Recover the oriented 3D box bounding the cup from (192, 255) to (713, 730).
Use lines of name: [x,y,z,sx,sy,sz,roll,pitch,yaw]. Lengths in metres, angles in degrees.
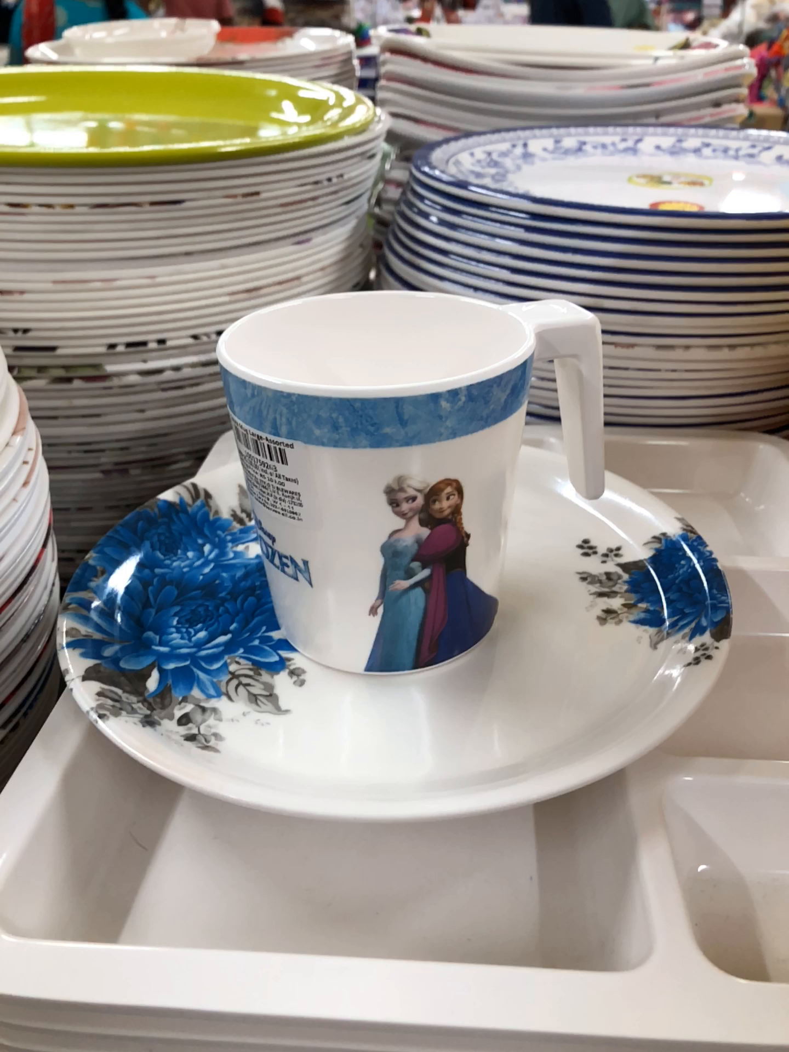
cup: [0.008,-0.015,0.242,0.110,0.089,0.080,-8,32,-13]
